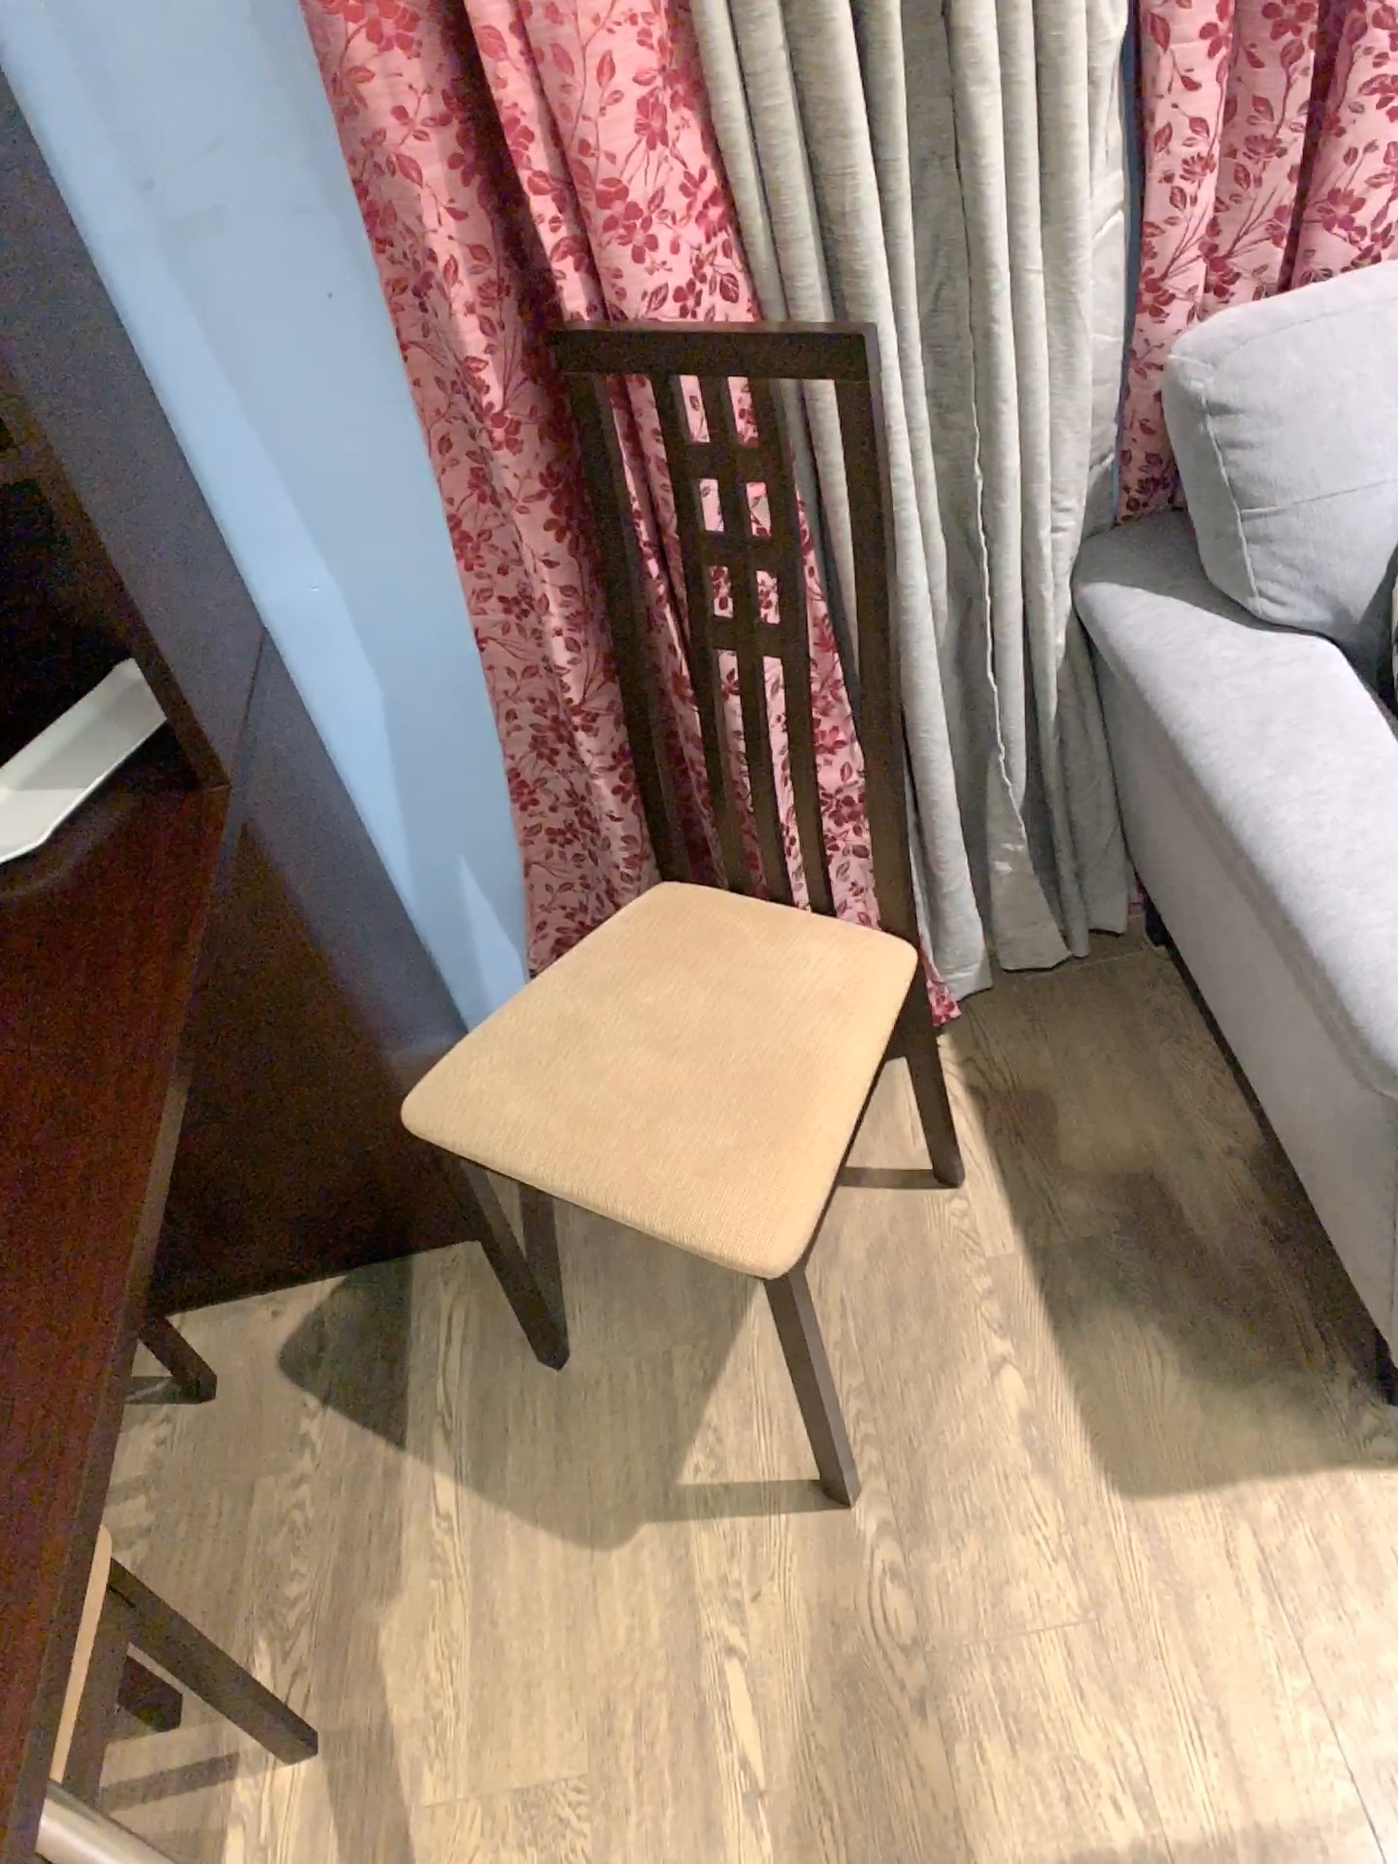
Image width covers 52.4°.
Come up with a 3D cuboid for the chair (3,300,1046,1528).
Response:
[{"bbox_3d":[-0.044,0.006,1.349,0.532,0.976,0.511,13,49,30],"label":"chair"}]
